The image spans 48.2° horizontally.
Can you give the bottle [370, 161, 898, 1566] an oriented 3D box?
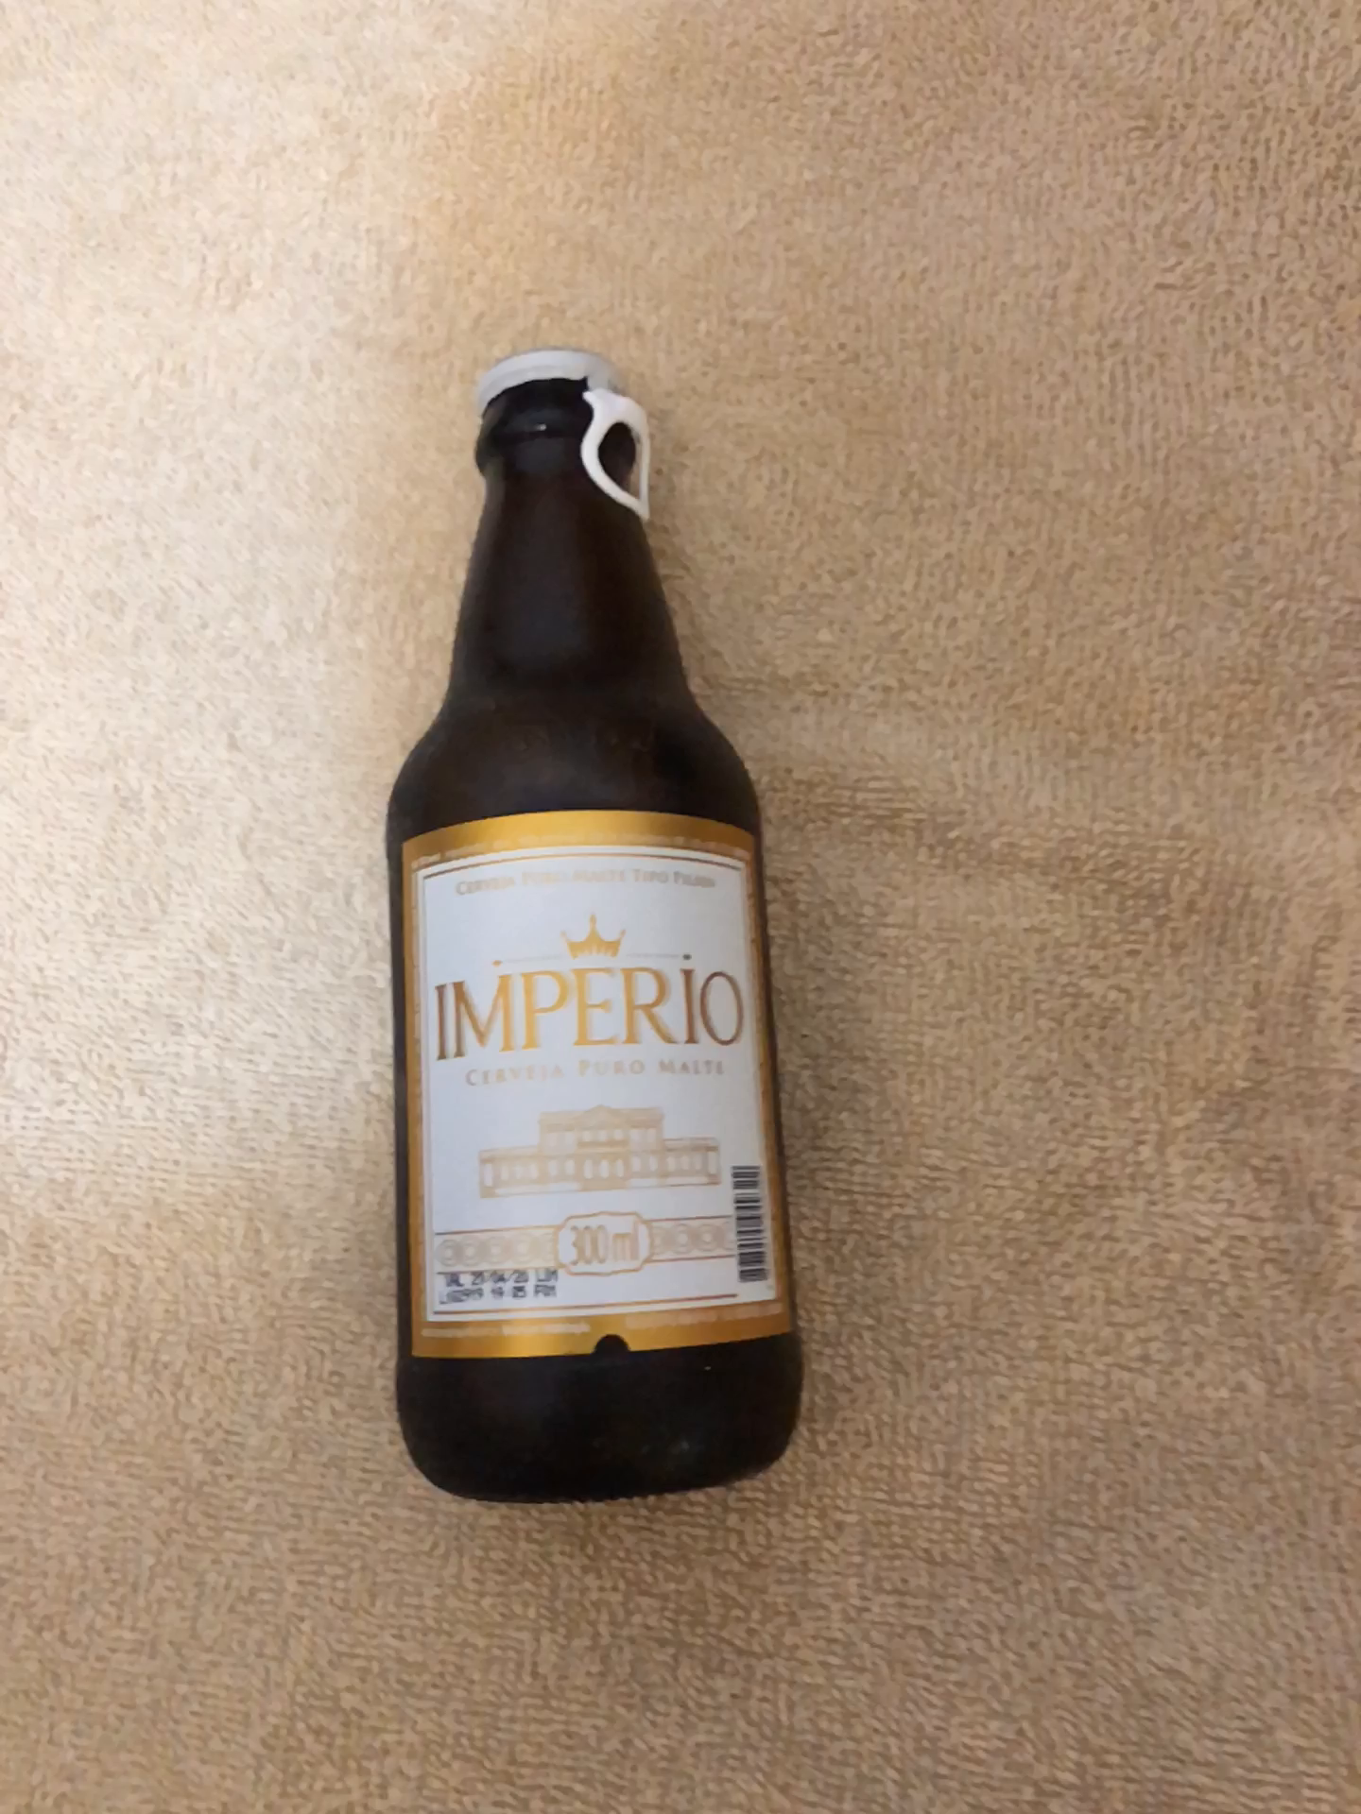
[{"bbox_3d":[-0.008,-0.009,0.233,0.060,0.060,0.190,-4,77,2],"label":"bottle"}]
